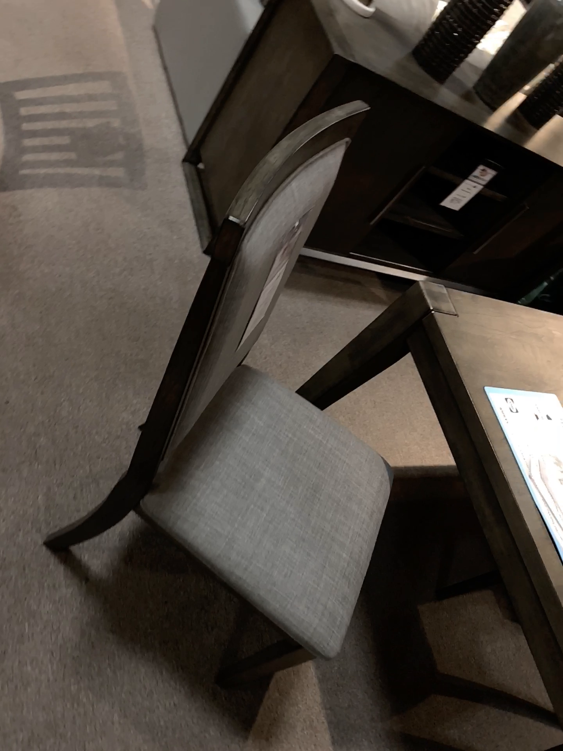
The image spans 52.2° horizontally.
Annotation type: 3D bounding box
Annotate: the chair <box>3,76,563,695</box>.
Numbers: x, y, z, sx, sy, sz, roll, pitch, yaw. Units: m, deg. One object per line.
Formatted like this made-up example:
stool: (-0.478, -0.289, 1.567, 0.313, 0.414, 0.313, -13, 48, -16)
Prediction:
chair: (0.005, 0.128, 1.120, 0.642, 0.997, 0.516, 38, 44, -8)
